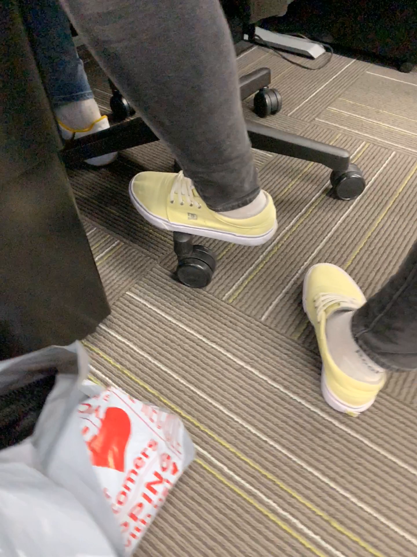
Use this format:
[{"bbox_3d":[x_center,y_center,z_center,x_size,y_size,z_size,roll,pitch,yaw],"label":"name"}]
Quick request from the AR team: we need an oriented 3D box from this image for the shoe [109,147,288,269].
[{"bbox_3d":[-0.016,-0.119,0.701,0.260,0.096,0.099,18,52,17],"label":"shoe"}]

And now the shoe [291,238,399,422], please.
[{"bbox_3d":[0.195,0.069,0.664,0.102,0.101,0.270,2,49,3],"label":"shoe"}]
